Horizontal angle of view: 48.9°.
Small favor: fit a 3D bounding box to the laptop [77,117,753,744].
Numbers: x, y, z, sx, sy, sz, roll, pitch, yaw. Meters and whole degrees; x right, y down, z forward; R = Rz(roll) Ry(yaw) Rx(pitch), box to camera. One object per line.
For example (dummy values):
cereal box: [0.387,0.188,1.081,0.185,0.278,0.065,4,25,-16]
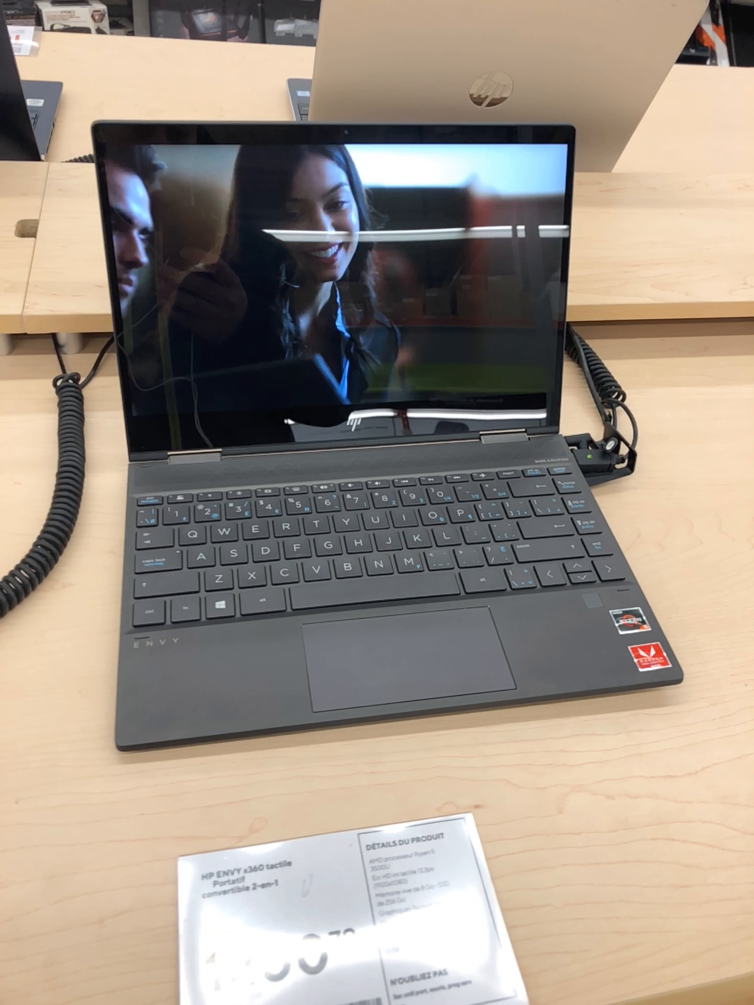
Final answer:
laptop: [0.005,-0.060,0.464,0.294,0.182,0.289,-4,46,-12]
